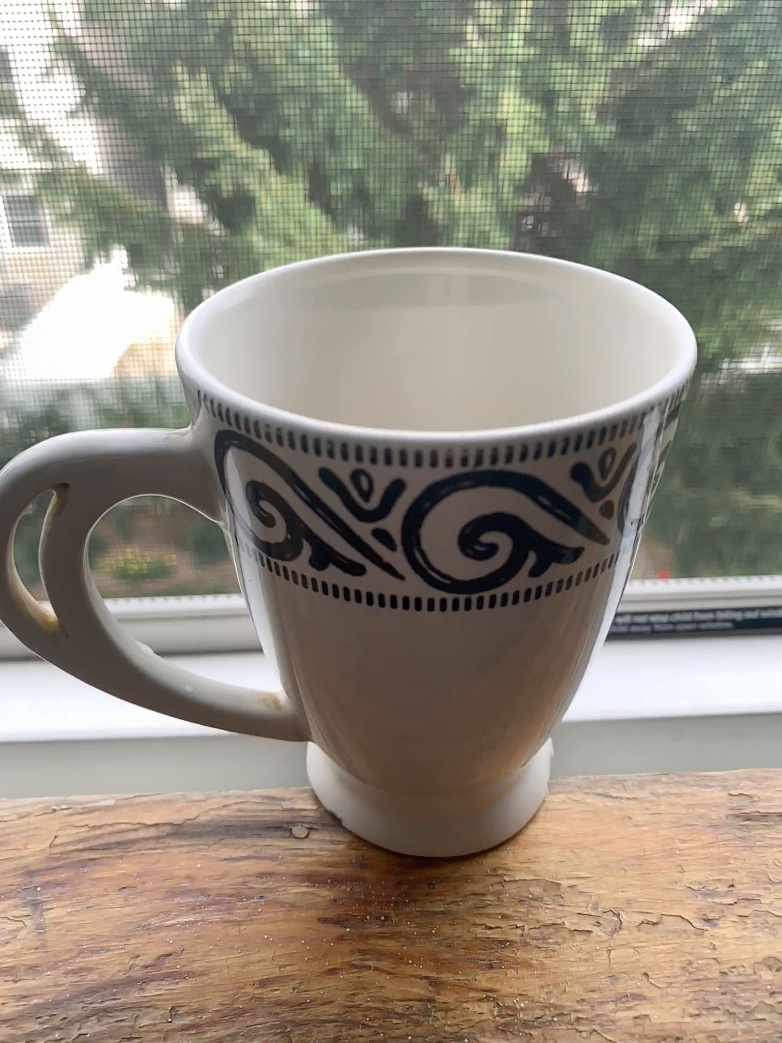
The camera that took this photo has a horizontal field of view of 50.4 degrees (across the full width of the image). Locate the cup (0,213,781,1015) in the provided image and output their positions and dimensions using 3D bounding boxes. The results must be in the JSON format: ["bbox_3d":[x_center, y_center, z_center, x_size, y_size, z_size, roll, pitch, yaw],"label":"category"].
[{"bbox_3d":[0.002,0.004,0.151,0.130,0.089,0.081,-10,34,-16],"label":"cup"}]
